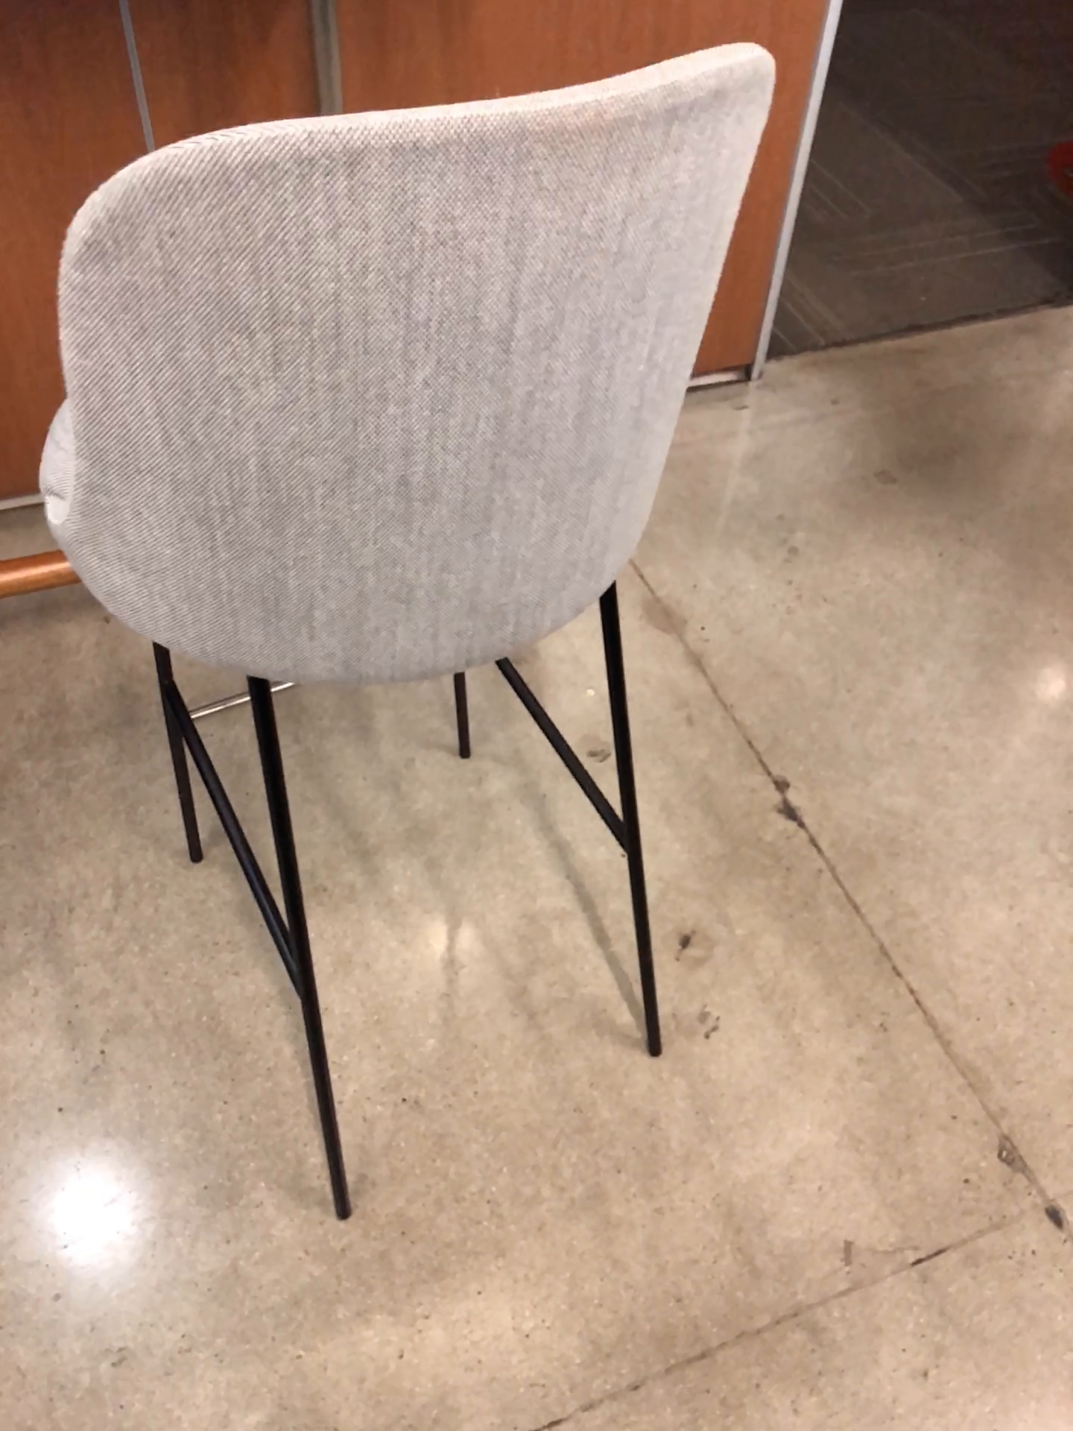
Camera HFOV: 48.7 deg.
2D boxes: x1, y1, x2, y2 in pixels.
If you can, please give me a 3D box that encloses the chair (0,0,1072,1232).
[{"bbox_3d":[-0.122,-0.119,1.063,0.460,1.096,0.622,-20,53,-20],"label":"chair"}]
